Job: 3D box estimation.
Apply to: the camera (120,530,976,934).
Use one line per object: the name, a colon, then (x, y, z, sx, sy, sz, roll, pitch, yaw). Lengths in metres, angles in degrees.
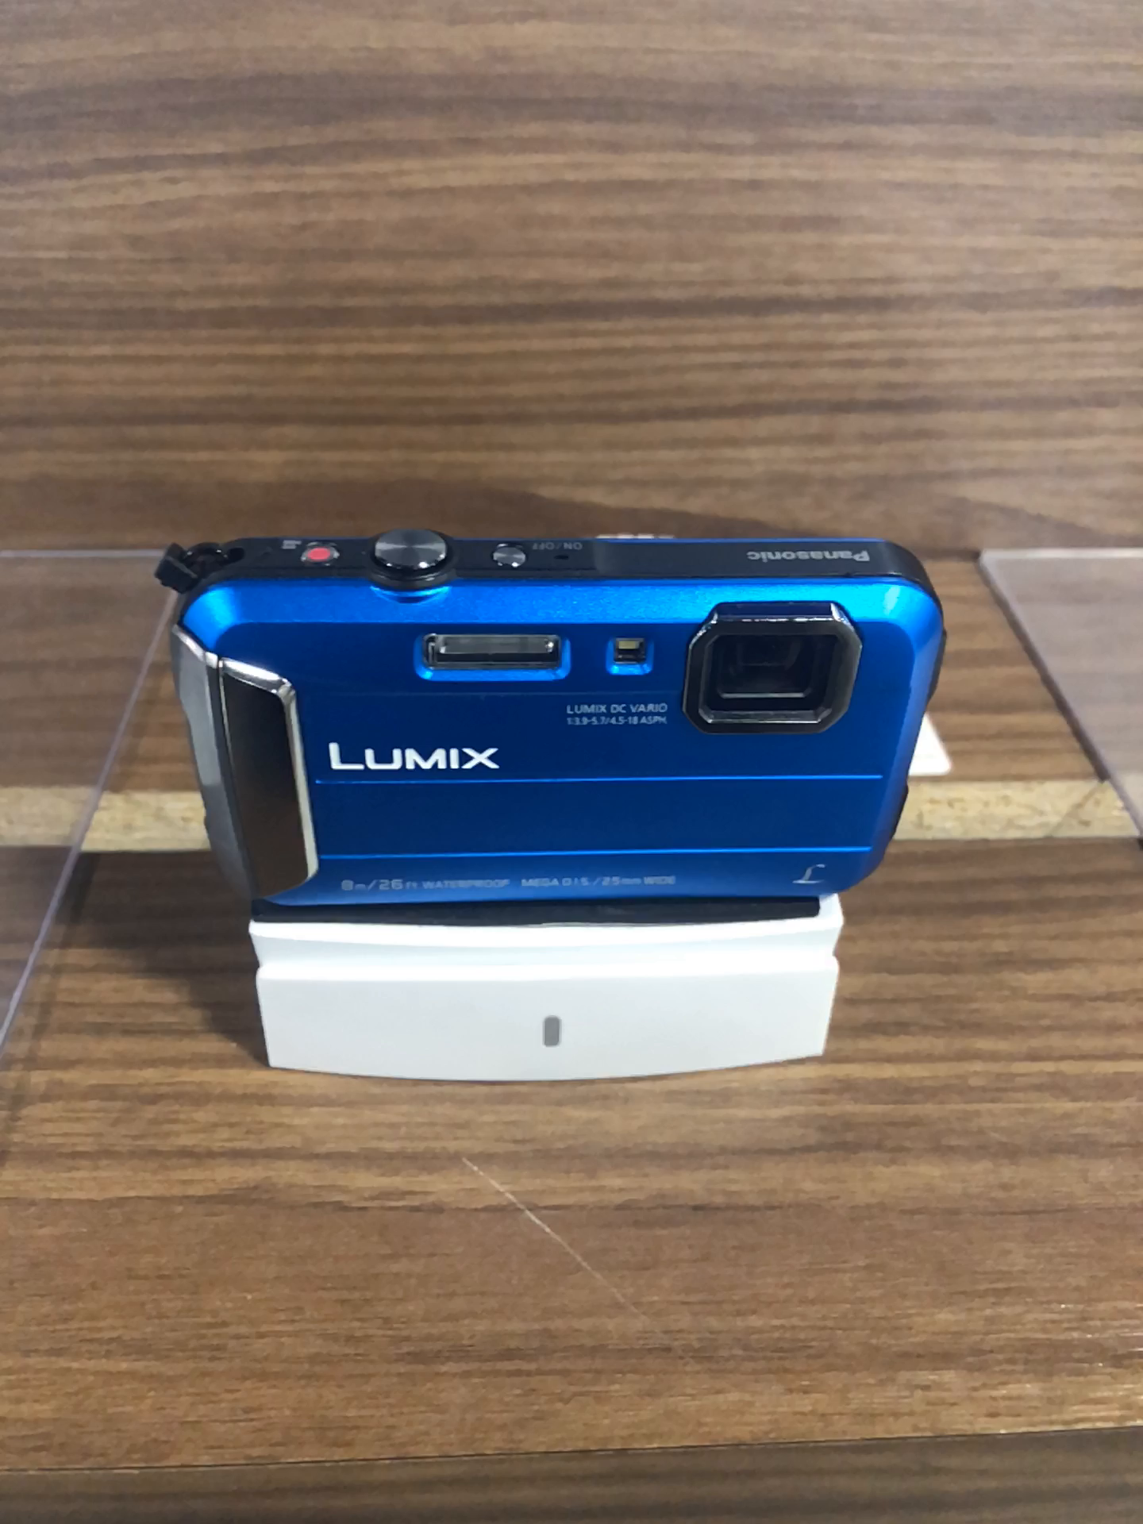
camera: (-0.003, -0.003, 0.176, 0.100, 0.051, 0.023, -1, 41, -3)
